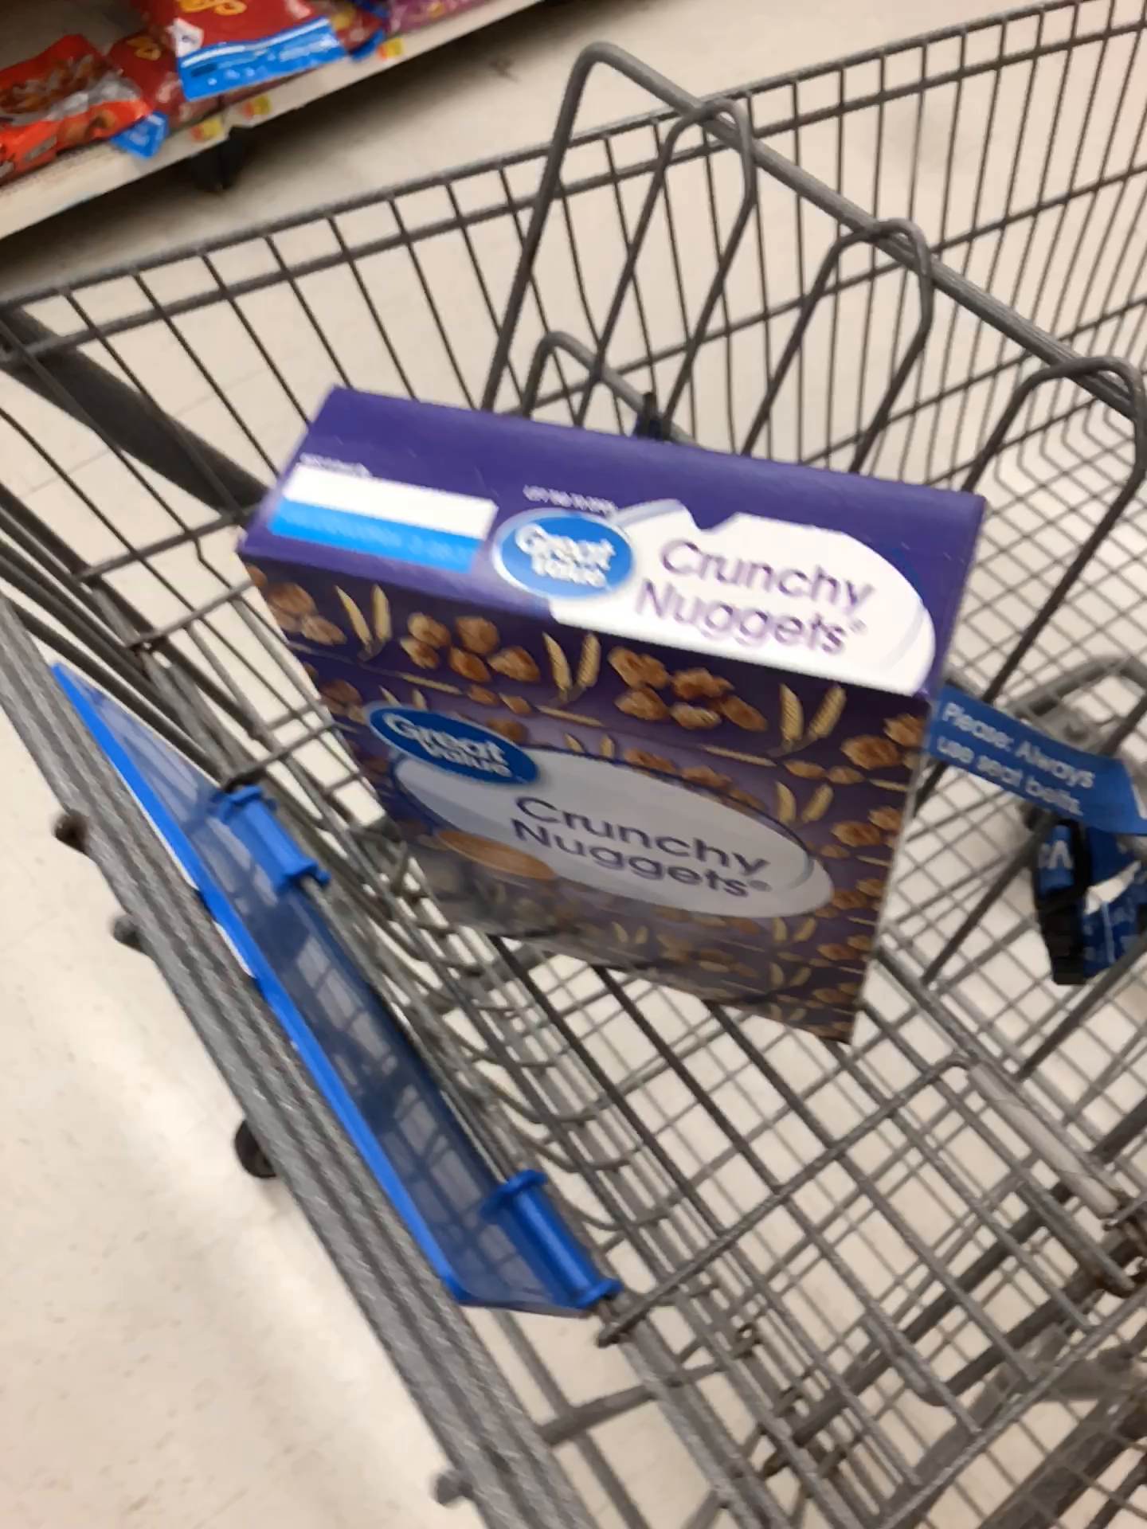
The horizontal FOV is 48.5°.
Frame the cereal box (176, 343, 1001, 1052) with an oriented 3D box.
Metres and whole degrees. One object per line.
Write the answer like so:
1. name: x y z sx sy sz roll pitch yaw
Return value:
1. cereal box: 0.012 0.000 0.382 0.170 0.240 0.060 14 63 13
